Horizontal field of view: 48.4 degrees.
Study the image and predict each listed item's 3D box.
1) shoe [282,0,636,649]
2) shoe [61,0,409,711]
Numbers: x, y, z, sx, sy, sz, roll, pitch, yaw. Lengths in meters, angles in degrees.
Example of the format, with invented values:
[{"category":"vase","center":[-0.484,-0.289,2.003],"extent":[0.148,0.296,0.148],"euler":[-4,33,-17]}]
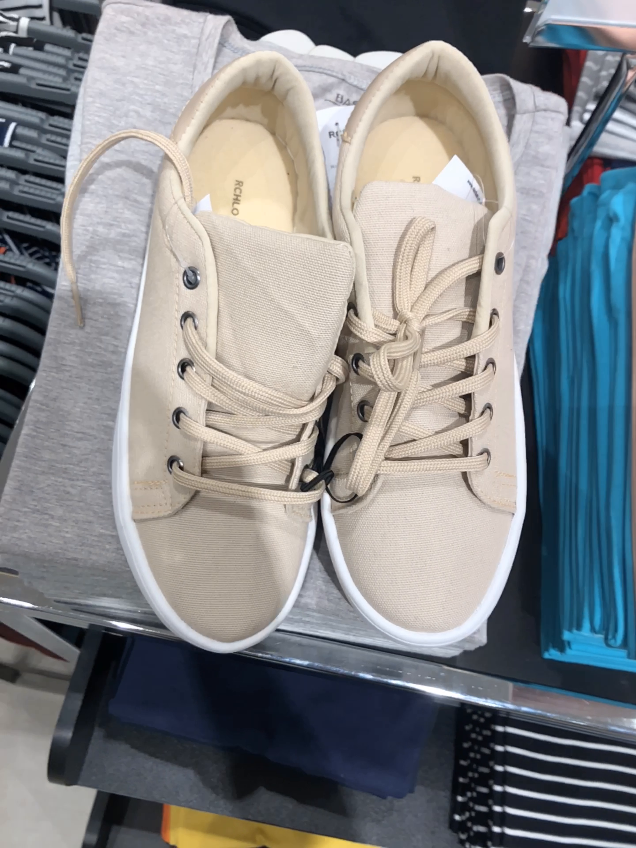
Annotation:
[{"category":"shoe","center":[0.043,-0.054,0.323],"extent":[0.110,0.110,0.291],"euler":[2,68,-5]},{"category":"shoe","center":[-0.033,-0.039,0.301],"extent":[0.100,0.110,0.280],"euler":[6,79,-14]}]
